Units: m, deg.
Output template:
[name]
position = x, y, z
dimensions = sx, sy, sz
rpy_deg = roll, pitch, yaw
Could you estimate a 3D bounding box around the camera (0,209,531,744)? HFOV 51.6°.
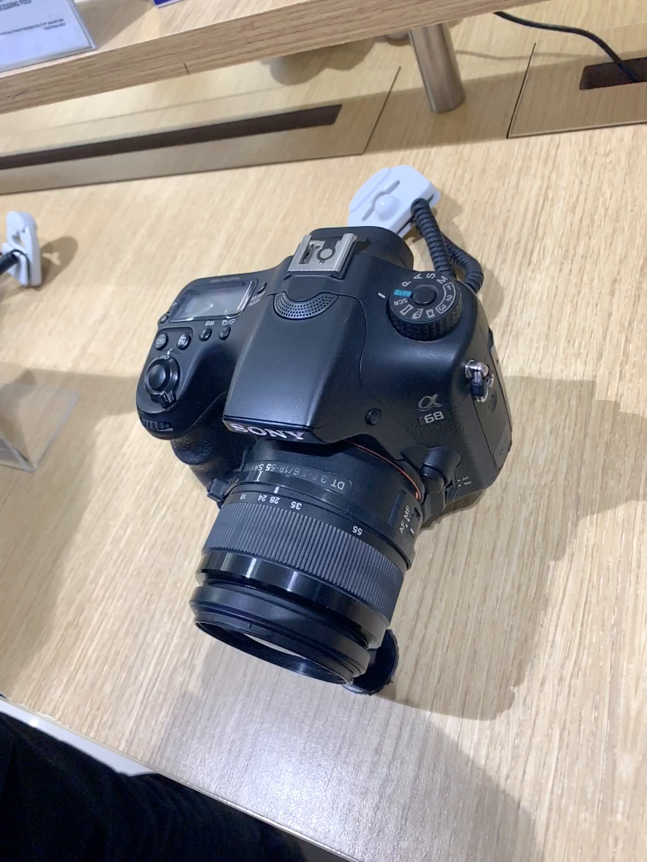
[camera]
position = -0.011, 0.013, 0.237
dimensions = 0.130, 0.100, 0.134
rpy_deg = 5, 61, 29
